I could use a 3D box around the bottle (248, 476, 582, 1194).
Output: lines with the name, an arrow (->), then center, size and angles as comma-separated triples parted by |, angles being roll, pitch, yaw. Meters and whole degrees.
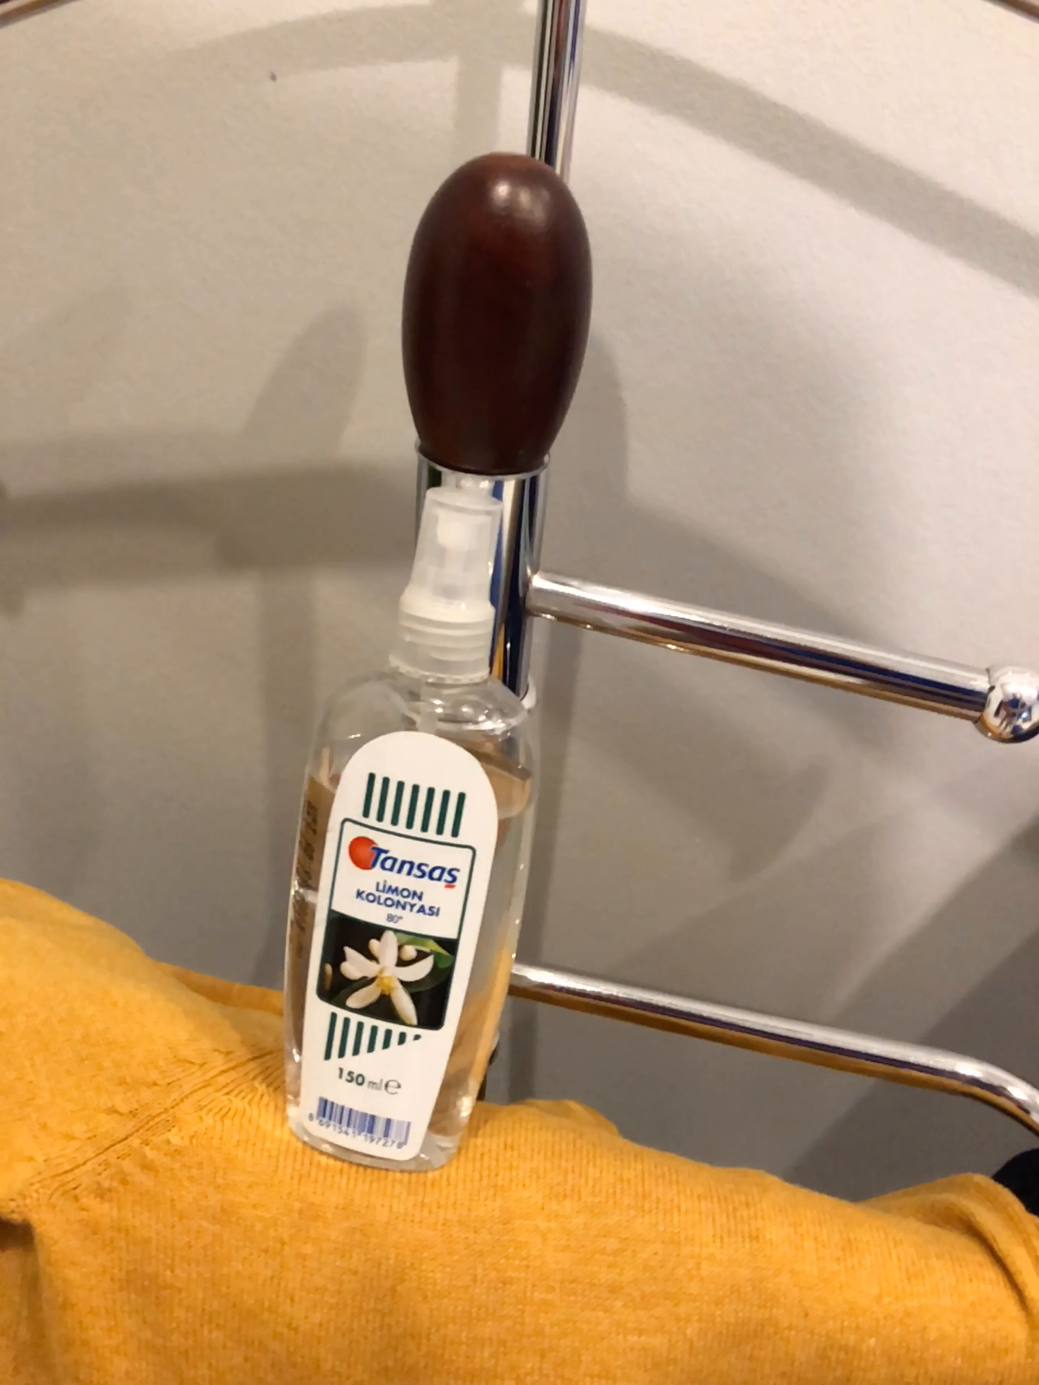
bottle -> -0.026, 0.034, 0.269 | 0.051, 0.158, 0.030 | 12, 15, 11
